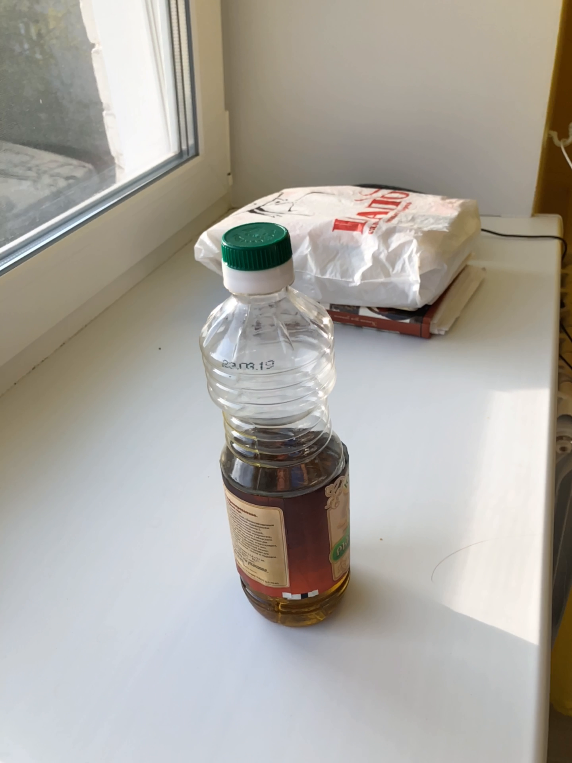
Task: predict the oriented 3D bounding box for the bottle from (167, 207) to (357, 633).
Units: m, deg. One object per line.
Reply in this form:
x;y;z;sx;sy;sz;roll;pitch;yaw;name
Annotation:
-0.002;0.031;0.319;0.067;0.217;0.061;-3;33;3;bottle
